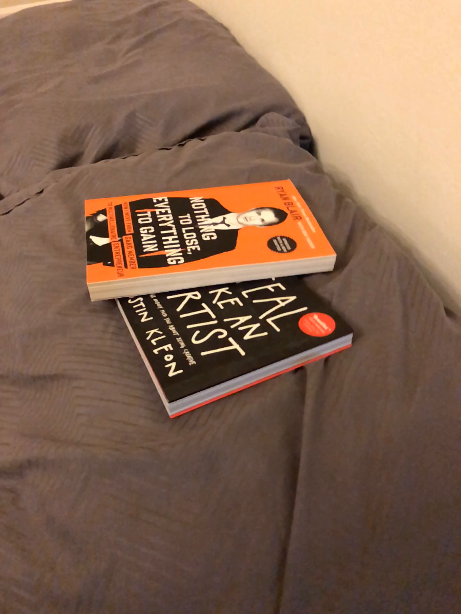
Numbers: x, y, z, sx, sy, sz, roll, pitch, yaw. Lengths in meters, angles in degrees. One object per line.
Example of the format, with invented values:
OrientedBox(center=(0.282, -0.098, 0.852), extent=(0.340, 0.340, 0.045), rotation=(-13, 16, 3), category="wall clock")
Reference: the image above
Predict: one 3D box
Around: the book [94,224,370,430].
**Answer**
OrientedBox(center=(-0.004, 0.002, 0.411), extent=(0.170, 0.020, 0.151), rotation=(-19, 48, -20), category="book")

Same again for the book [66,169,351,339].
OrientedBox(center=(-0.031, -0.061, 0.472), extent=(0.230, 0.020, 0.171), rotation=(-11, 46, -9), category="book")
